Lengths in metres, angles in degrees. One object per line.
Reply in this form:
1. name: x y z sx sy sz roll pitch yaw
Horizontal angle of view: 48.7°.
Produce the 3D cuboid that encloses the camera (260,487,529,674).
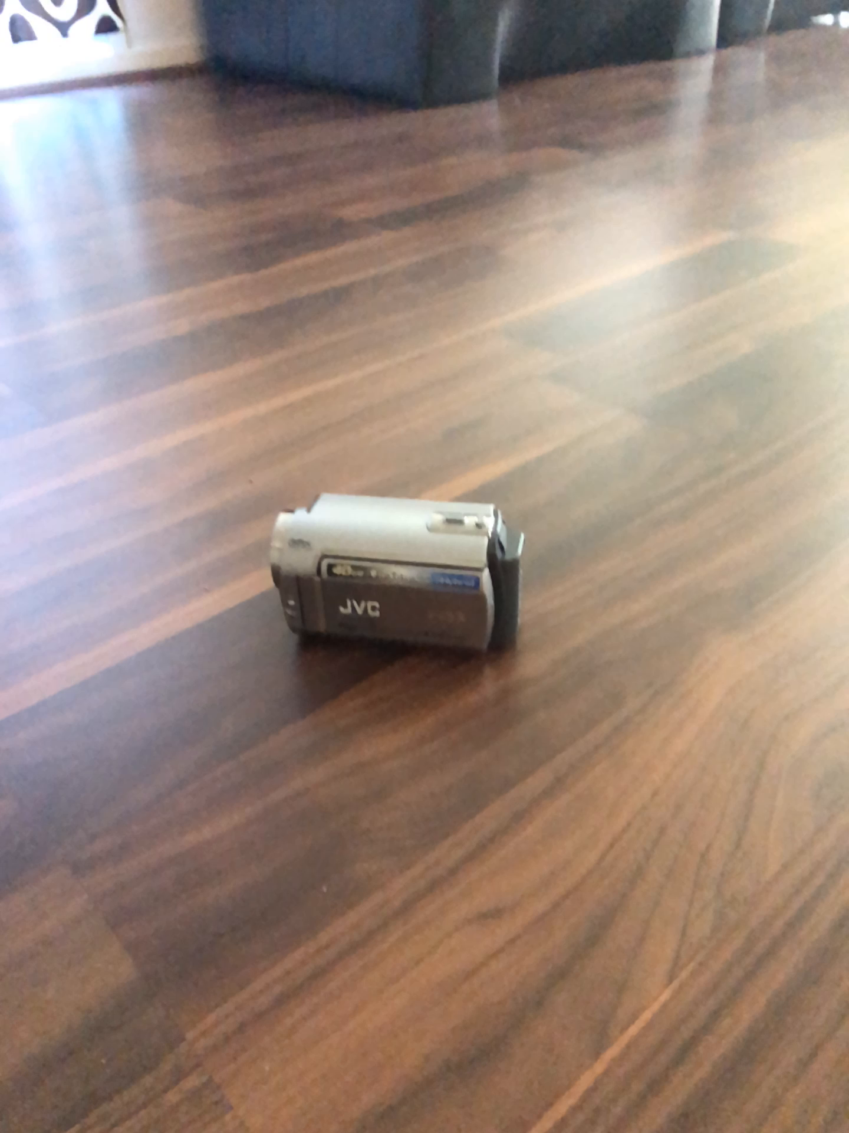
1. camera: -0.011 0.005 0.472 0.120 0.060 0.060 5 35 13
